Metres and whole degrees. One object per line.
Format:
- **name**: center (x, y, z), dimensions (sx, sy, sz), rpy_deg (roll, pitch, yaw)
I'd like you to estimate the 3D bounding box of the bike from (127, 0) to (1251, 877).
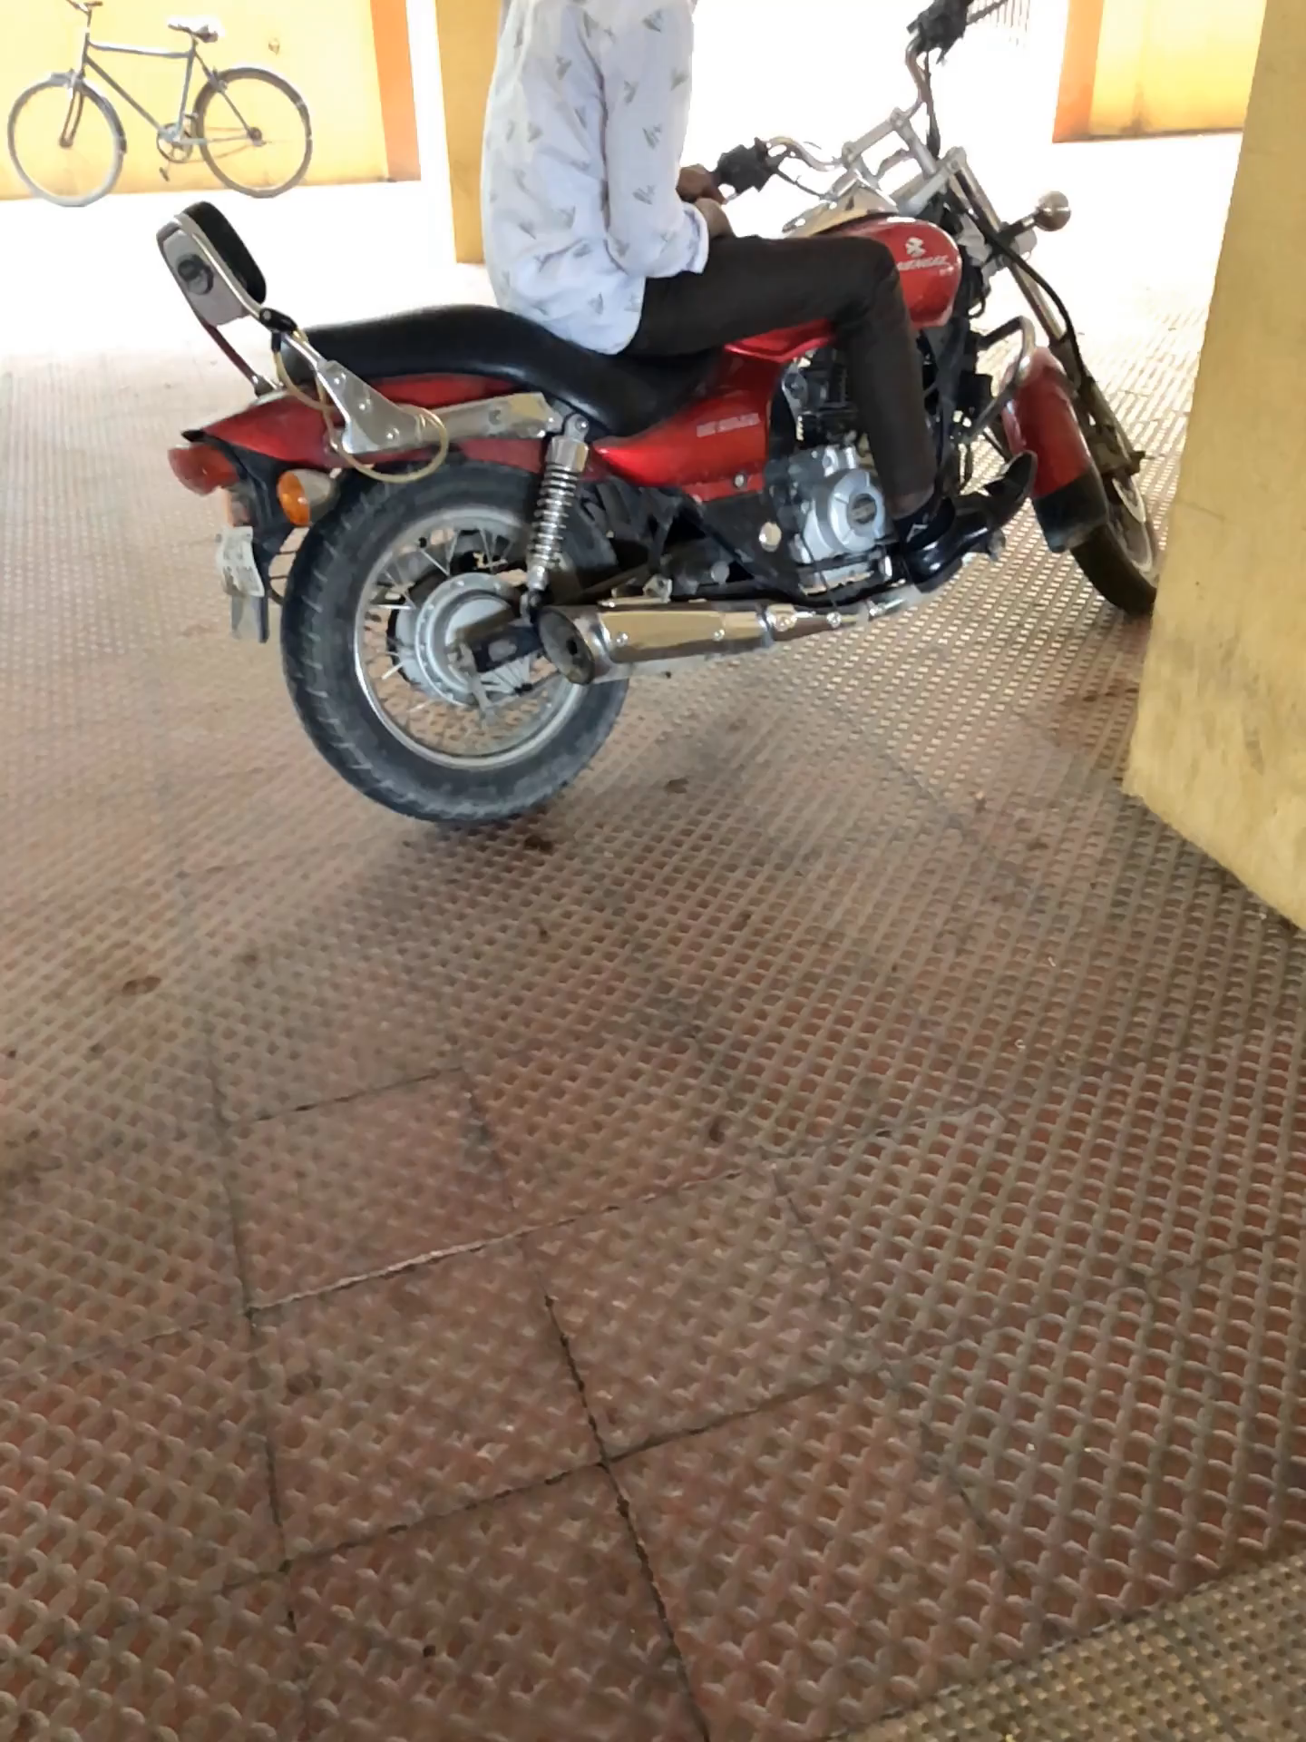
- **bike**: center (0.120, -1.025, 2.320), dimensions (1.655, 1.049, 0.757), rpy_deg (-33, 45, -32)
